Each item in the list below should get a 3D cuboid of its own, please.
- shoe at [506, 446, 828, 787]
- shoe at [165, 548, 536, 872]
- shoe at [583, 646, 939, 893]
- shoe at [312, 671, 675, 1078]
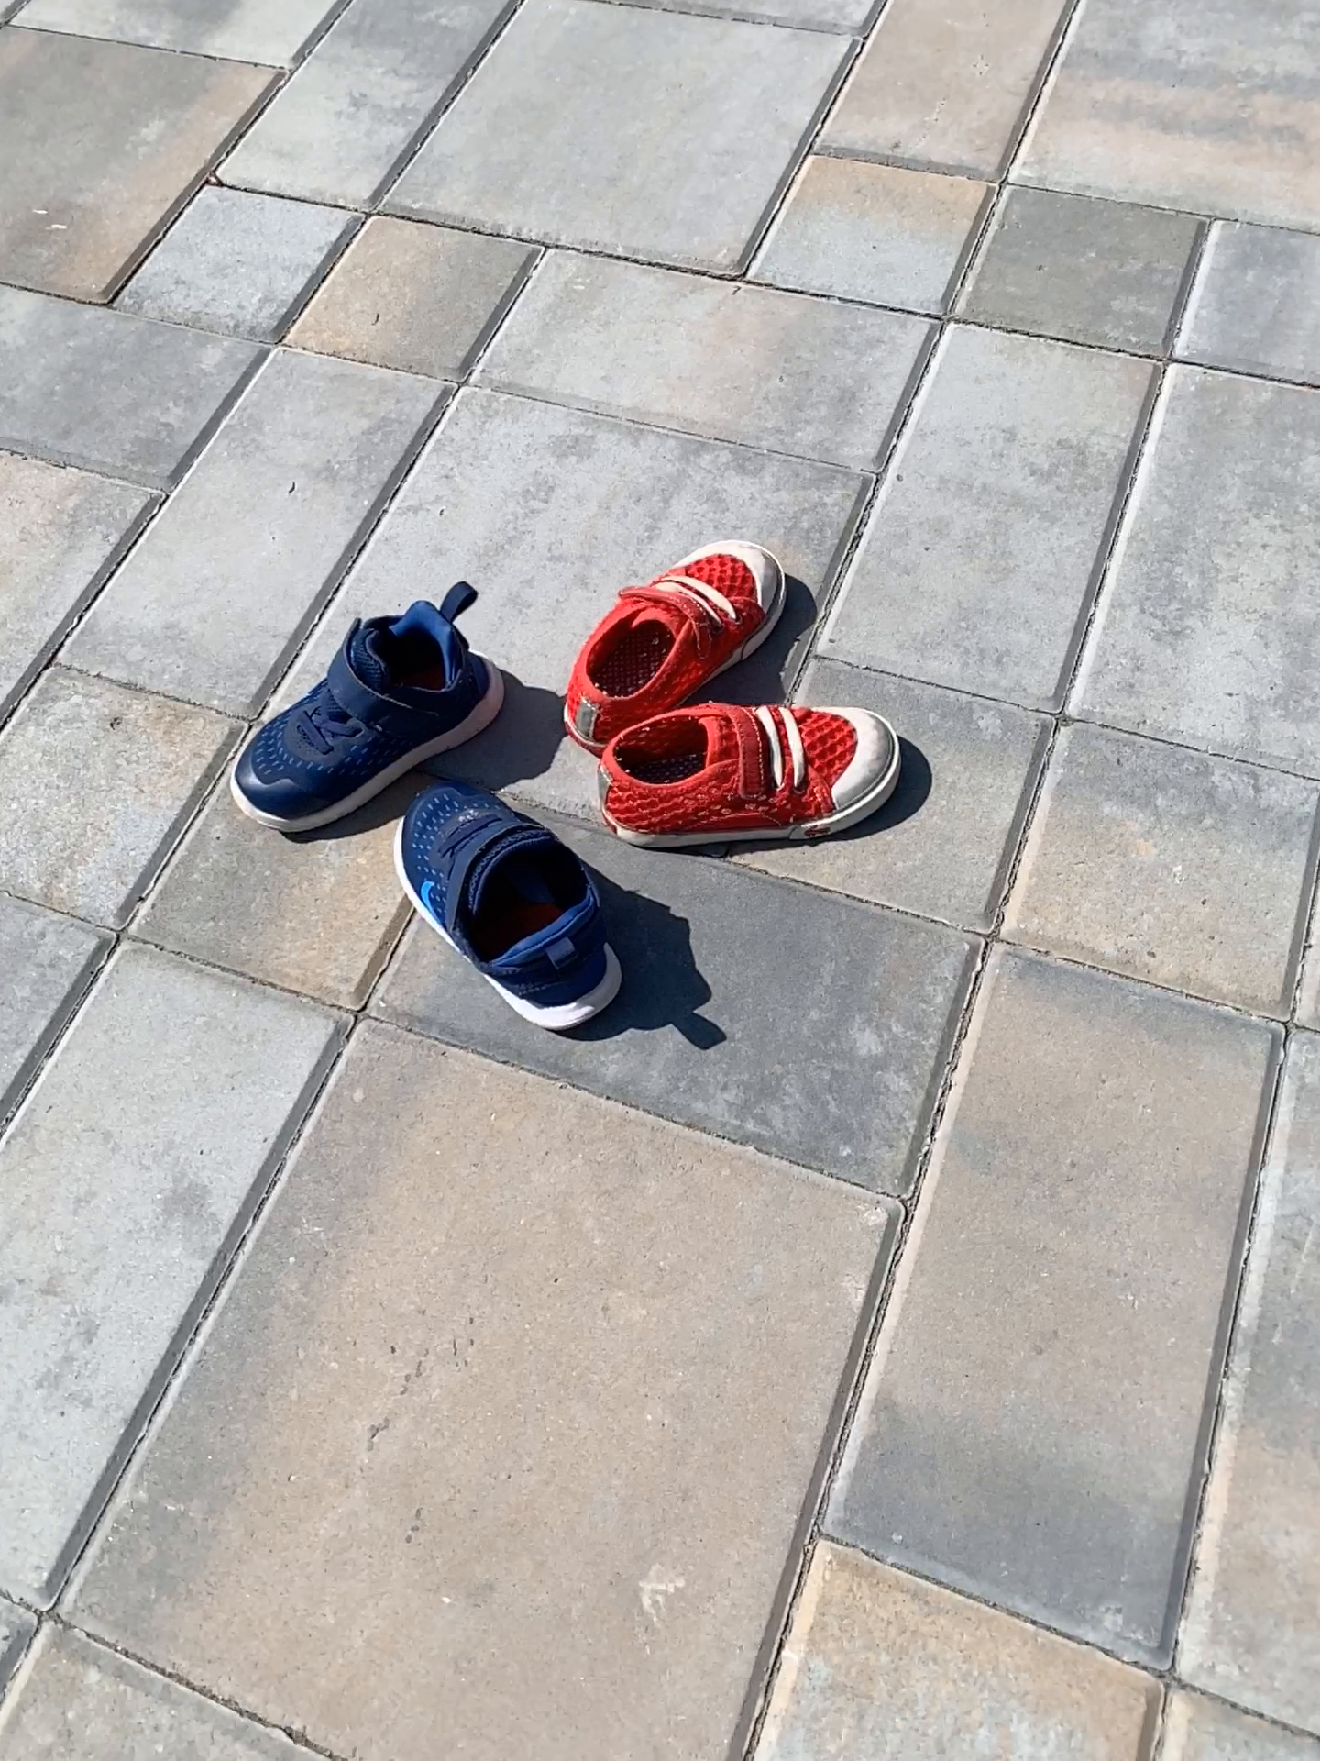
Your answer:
[{"bbox_3d":[0.008,-0.148,0.748,0.080,0.070,0.170,36,70,22],"label":"shoe"},{"bbox_3d":[-0.166,-0.094,0.741,0.170,0.070,0.080,-33,63,-13],"label":"shoe"},{"bbox_3d":[0.052,-0.059,0.723,0.170,0.070,0.080,-10,60,-1],"label":"shoe"},{"bbox_3d":[-0.086,-0.005,0.709,0.090,0.090,0.181,-36,64,-15],"label":"shoe"}]
